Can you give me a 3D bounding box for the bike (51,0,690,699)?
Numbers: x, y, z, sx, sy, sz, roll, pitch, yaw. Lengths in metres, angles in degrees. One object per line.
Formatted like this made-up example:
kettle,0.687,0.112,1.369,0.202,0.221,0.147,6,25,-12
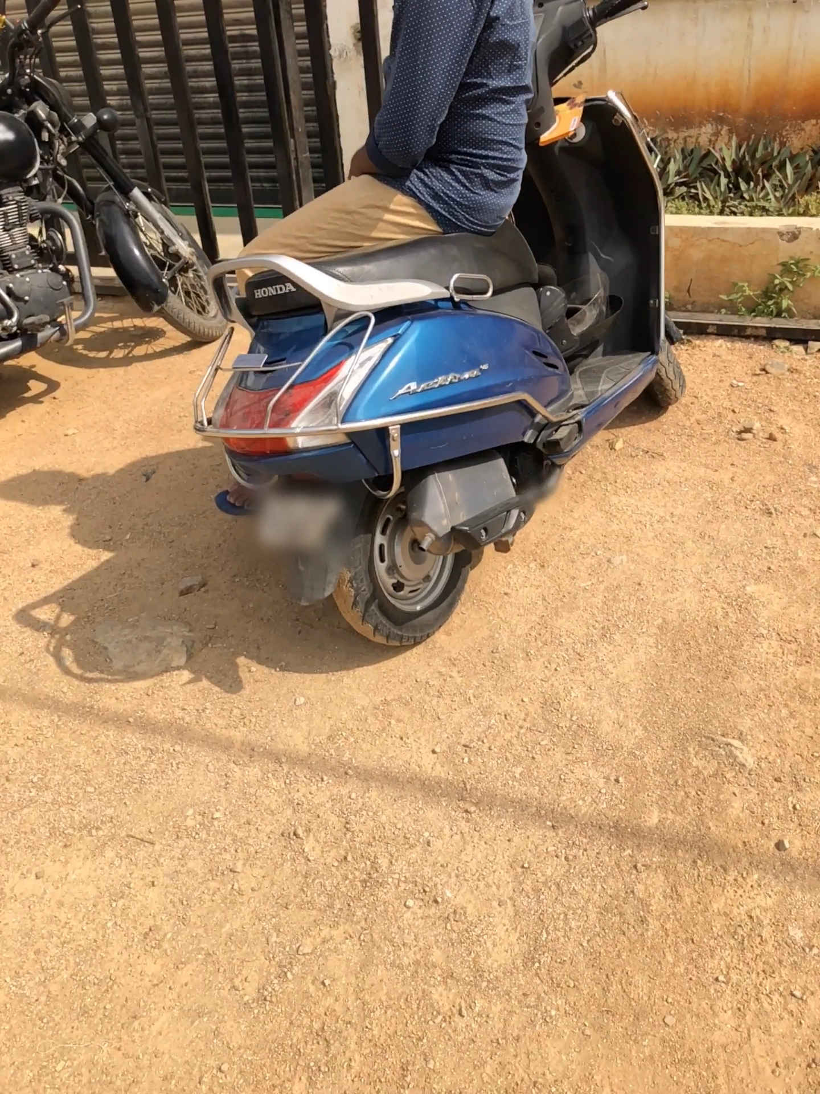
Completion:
bike,0.096,-0.679,2.116,0.622,1.115,1.558,13,38,27
